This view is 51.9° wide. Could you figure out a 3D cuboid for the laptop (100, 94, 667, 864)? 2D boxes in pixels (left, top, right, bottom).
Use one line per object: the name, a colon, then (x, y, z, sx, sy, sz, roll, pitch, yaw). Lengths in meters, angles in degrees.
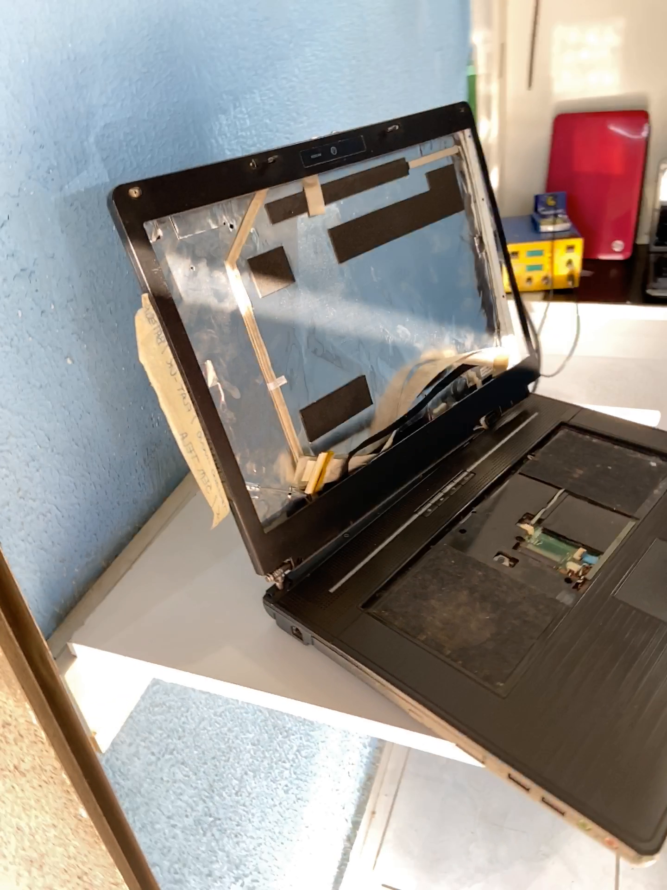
laptop: (0.125, -0.059, 0.457, 0.350, 0.261, 0.354, 23, 43, 39)
